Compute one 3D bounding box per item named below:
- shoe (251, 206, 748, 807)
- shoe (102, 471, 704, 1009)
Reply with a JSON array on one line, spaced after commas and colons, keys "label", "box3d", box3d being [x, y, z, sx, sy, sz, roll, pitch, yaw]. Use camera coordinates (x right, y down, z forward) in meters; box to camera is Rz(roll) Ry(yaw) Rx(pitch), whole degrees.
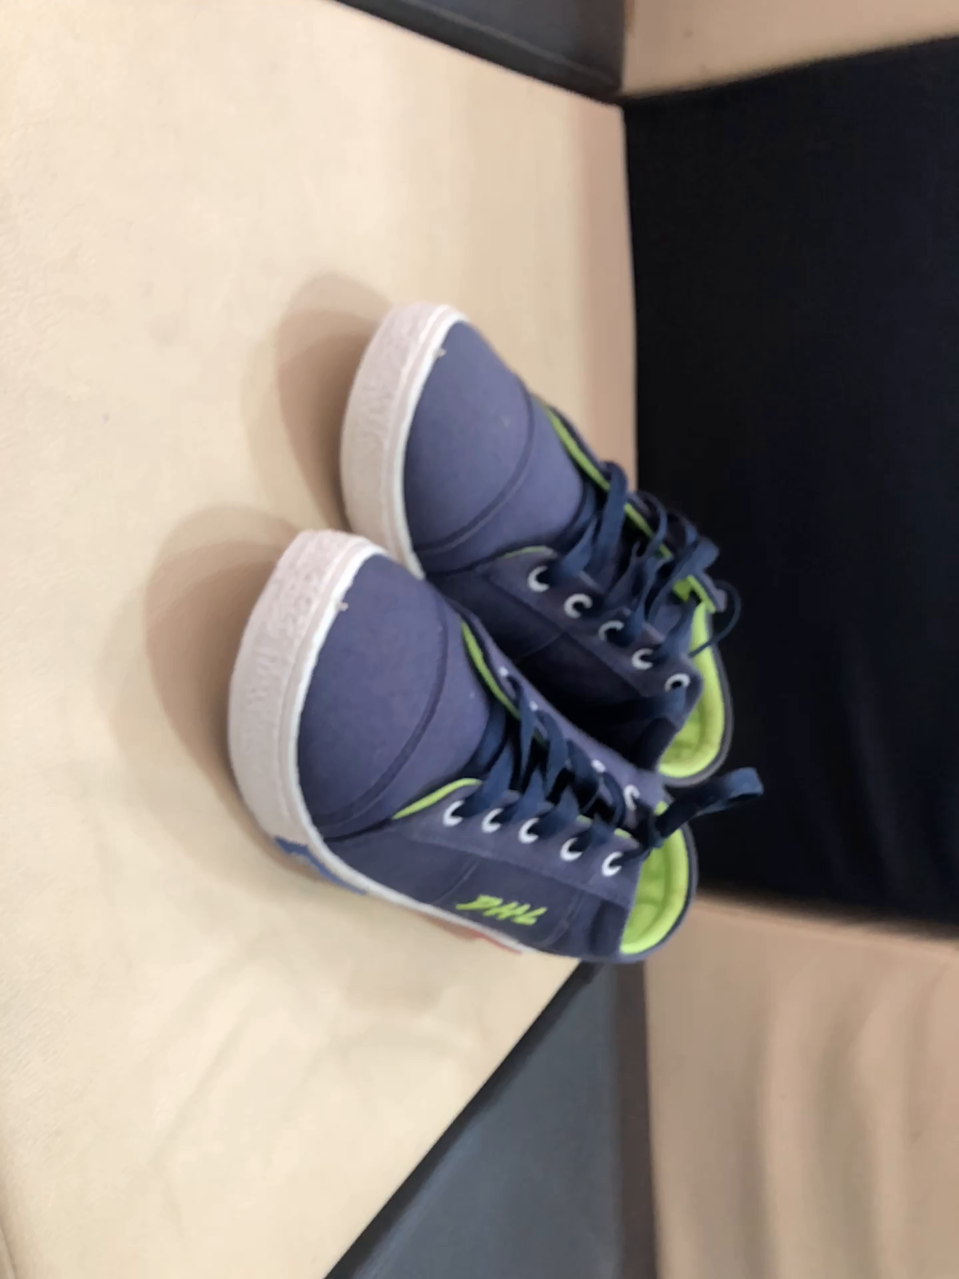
[{"label": "shoe", "box3d": [0.032, -0.029, 0.430, 0.272, 0.079, 0.090, 50, 51, -52]}, {"label": "shoe", "box3d": [0.000, 0.053, 0.395, 0.262, 0.089, 0.090, 51, 51, -52]}]
